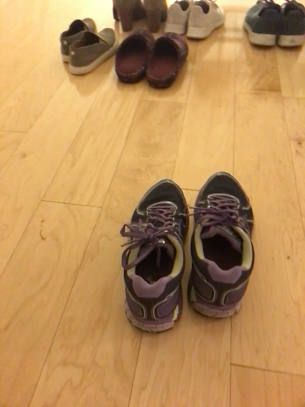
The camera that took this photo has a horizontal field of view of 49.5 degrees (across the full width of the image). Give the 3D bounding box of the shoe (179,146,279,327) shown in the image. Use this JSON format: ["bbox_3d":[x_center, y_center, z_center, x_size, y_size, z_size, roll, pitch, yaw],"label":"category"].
[{"bbox_3d":[0.120,0.033,0.539,0.120,0.079,0.292,6,48,7],"label":"shoe"}]

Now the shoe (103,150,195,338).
[{"bbox_3d":[0.009,0.046,0.535,0.110,0.099,0.292,3,48,5],"label":"shoe"}]
